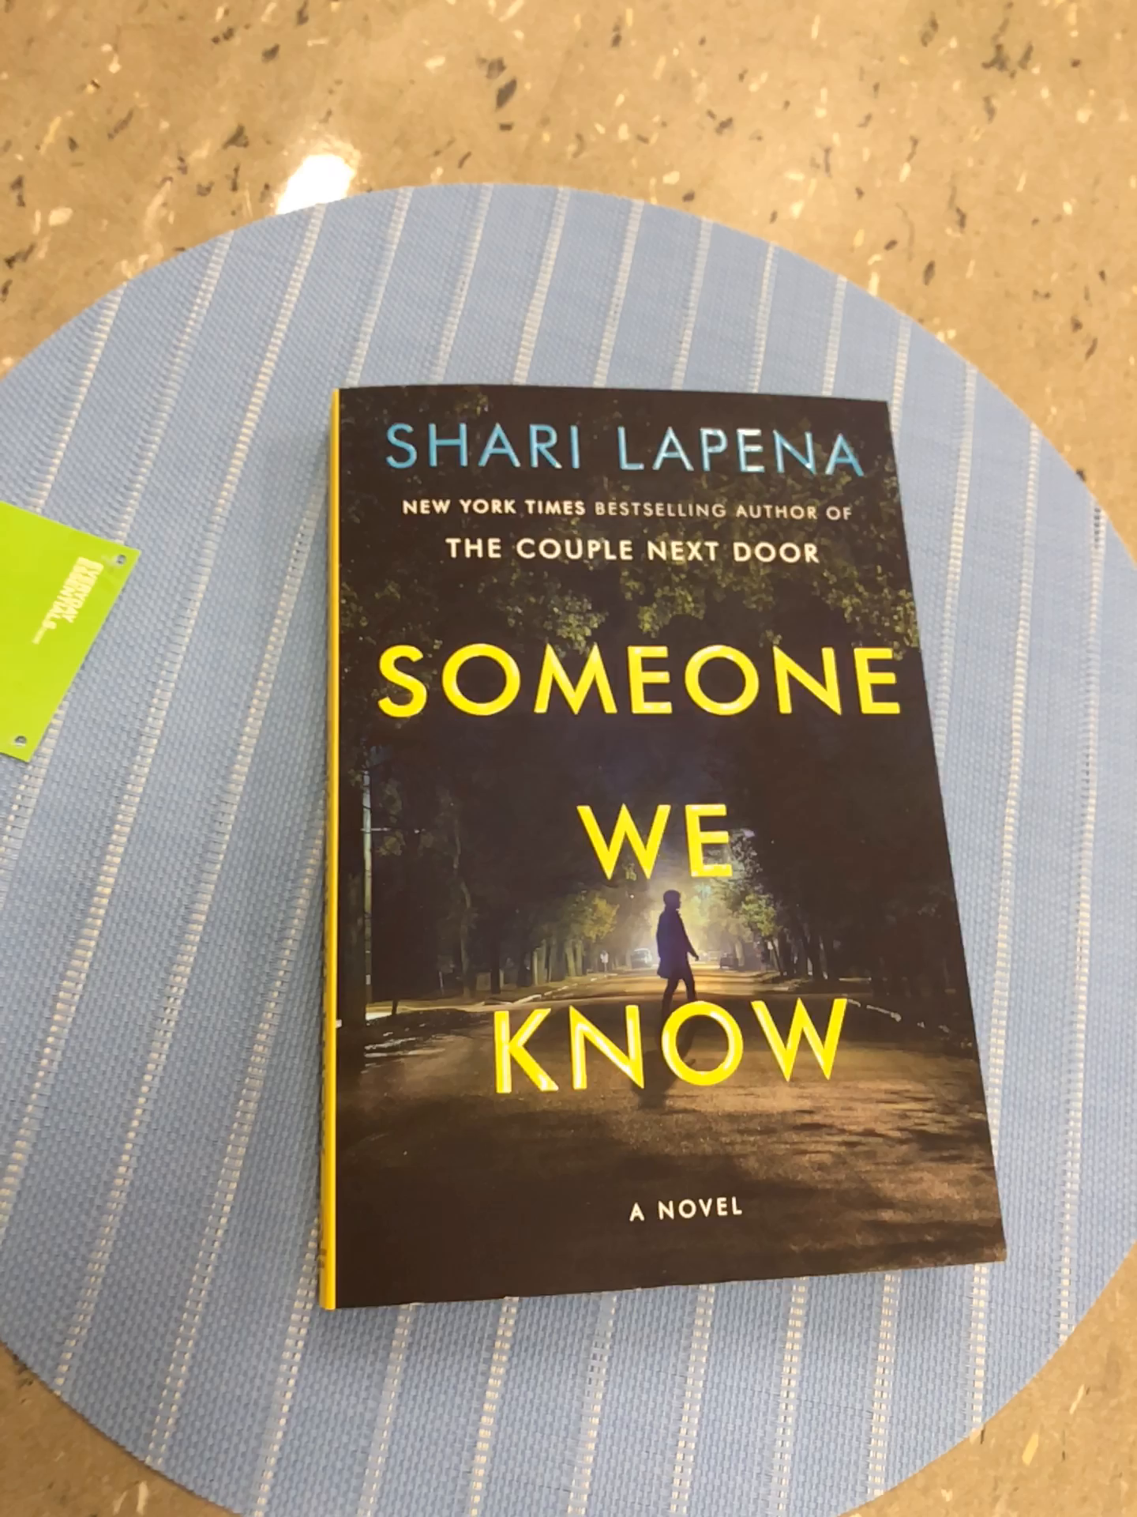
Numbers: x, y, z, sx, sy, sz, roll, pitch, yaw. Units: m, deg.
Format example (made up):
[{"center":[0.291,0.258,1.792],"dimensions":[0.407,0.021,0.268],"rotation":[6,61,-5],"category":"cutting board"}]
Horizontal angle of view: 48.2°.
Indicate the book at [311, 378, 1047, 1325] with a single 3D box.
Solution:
[{"center":[0.019,0.013,0.320],"dimensions":[0.161,0.030,0.225],"rotation":[-1,73,-8],"category":"book"}]
